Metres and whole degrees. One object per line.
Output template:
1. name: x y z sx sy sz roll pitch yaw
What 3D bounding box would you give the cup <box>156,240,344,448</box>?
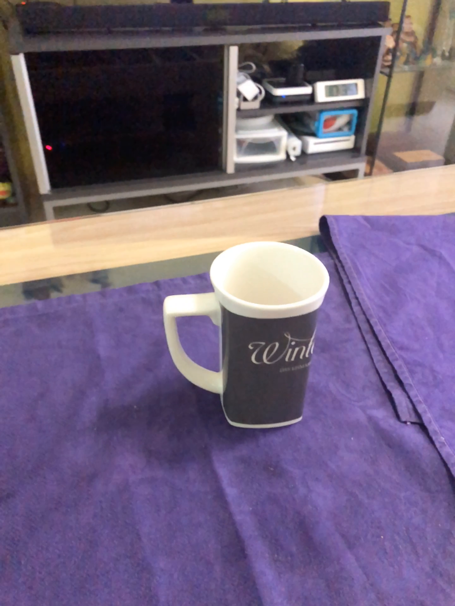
1. cup: 0.008 0.027 0.329 0.100 0.109 0.070 -3 37 -5
